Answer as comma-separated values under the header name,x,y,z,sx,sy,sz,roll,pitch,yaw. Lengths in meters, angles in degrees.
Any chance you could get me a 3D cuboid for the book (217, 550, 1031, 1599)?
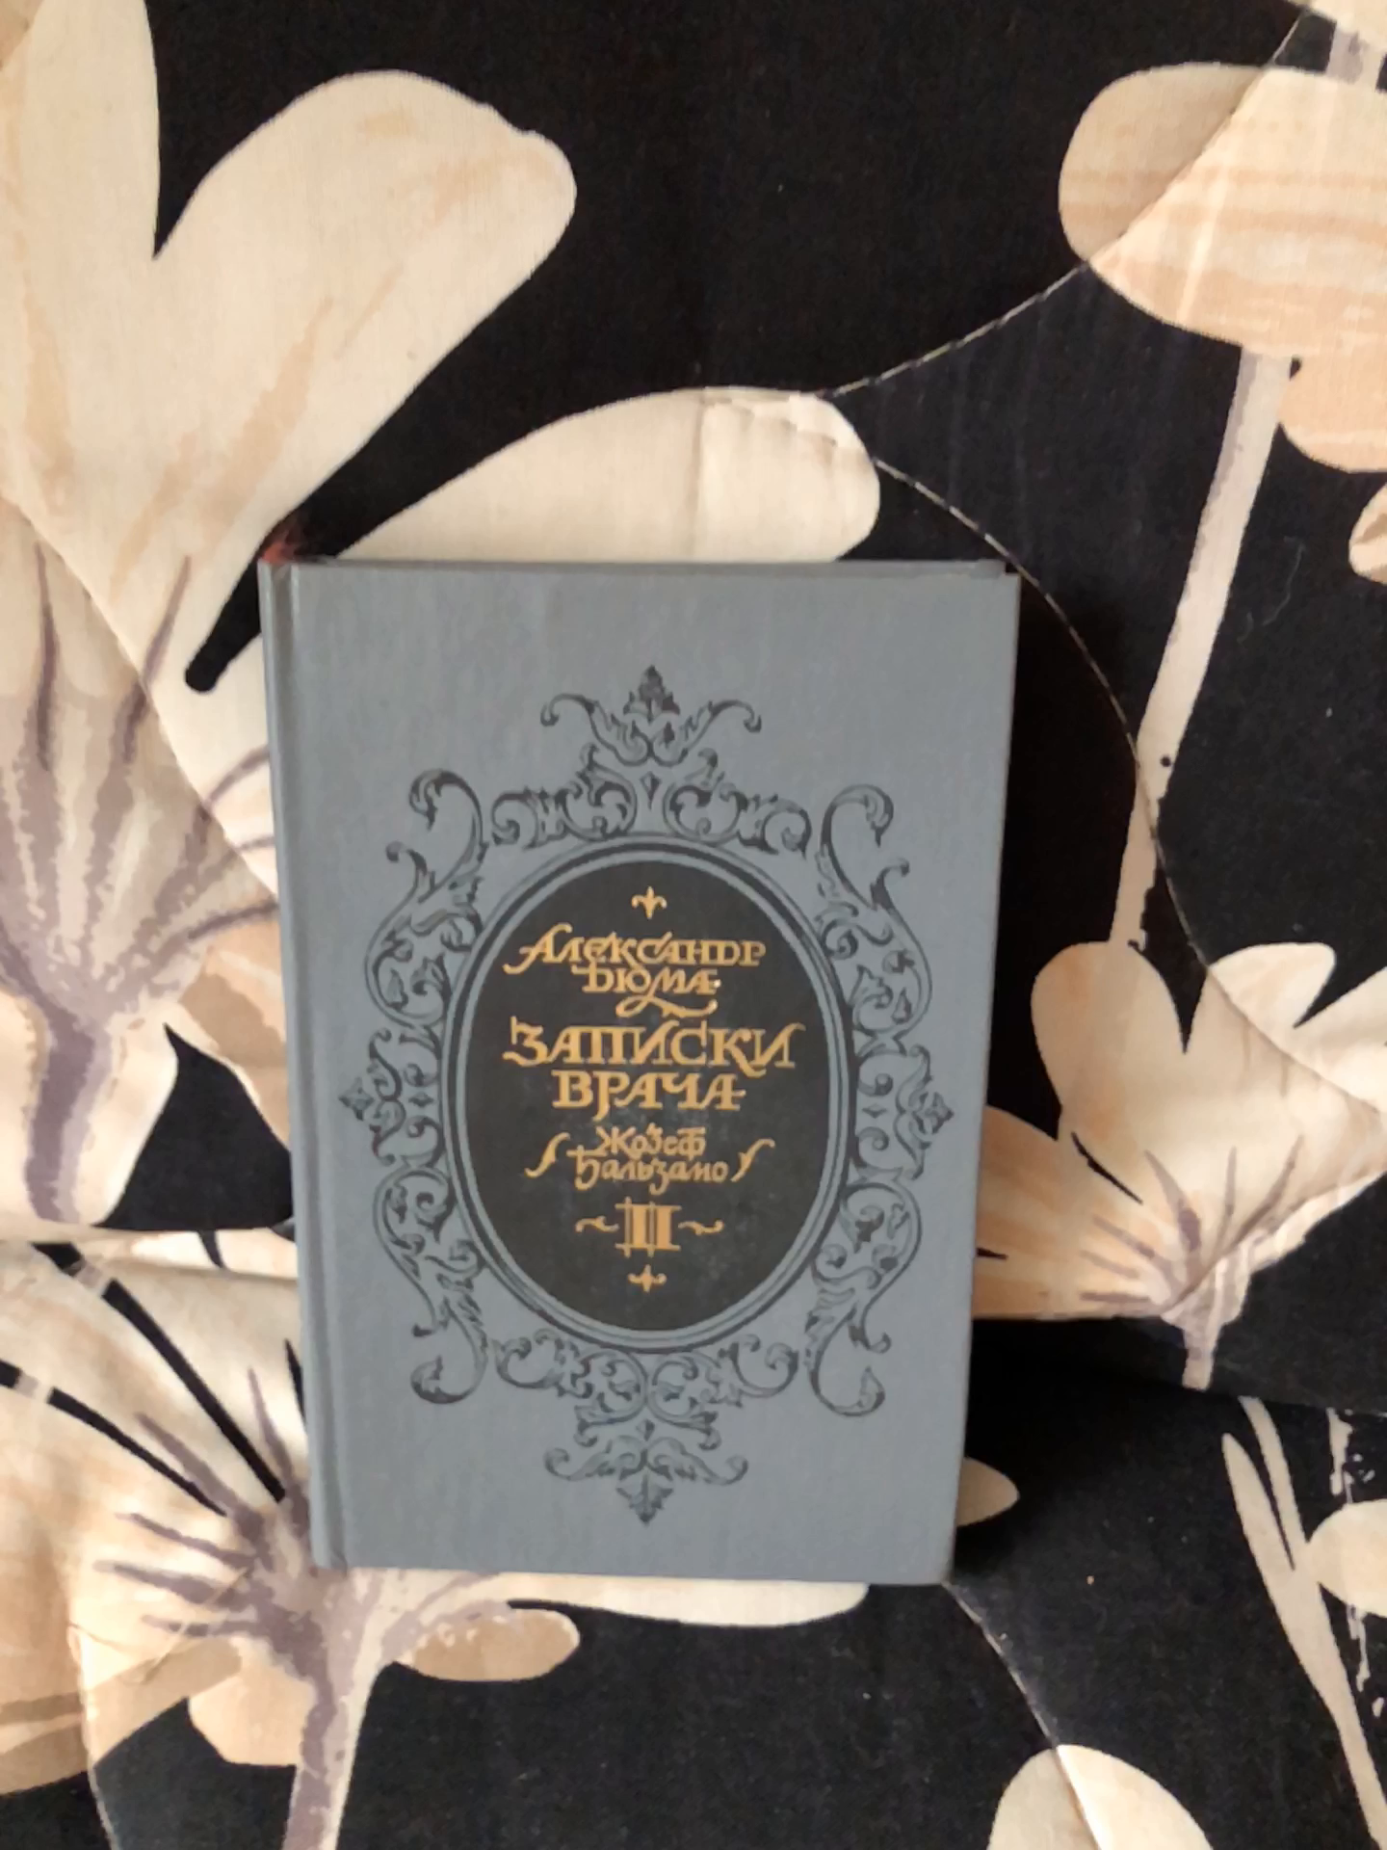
name,x,y,z,sx,sy,sz,roll,pitch,yaw
book,-0.013,0.033,0.307,0.140,0.030,0.206,1,105,2
